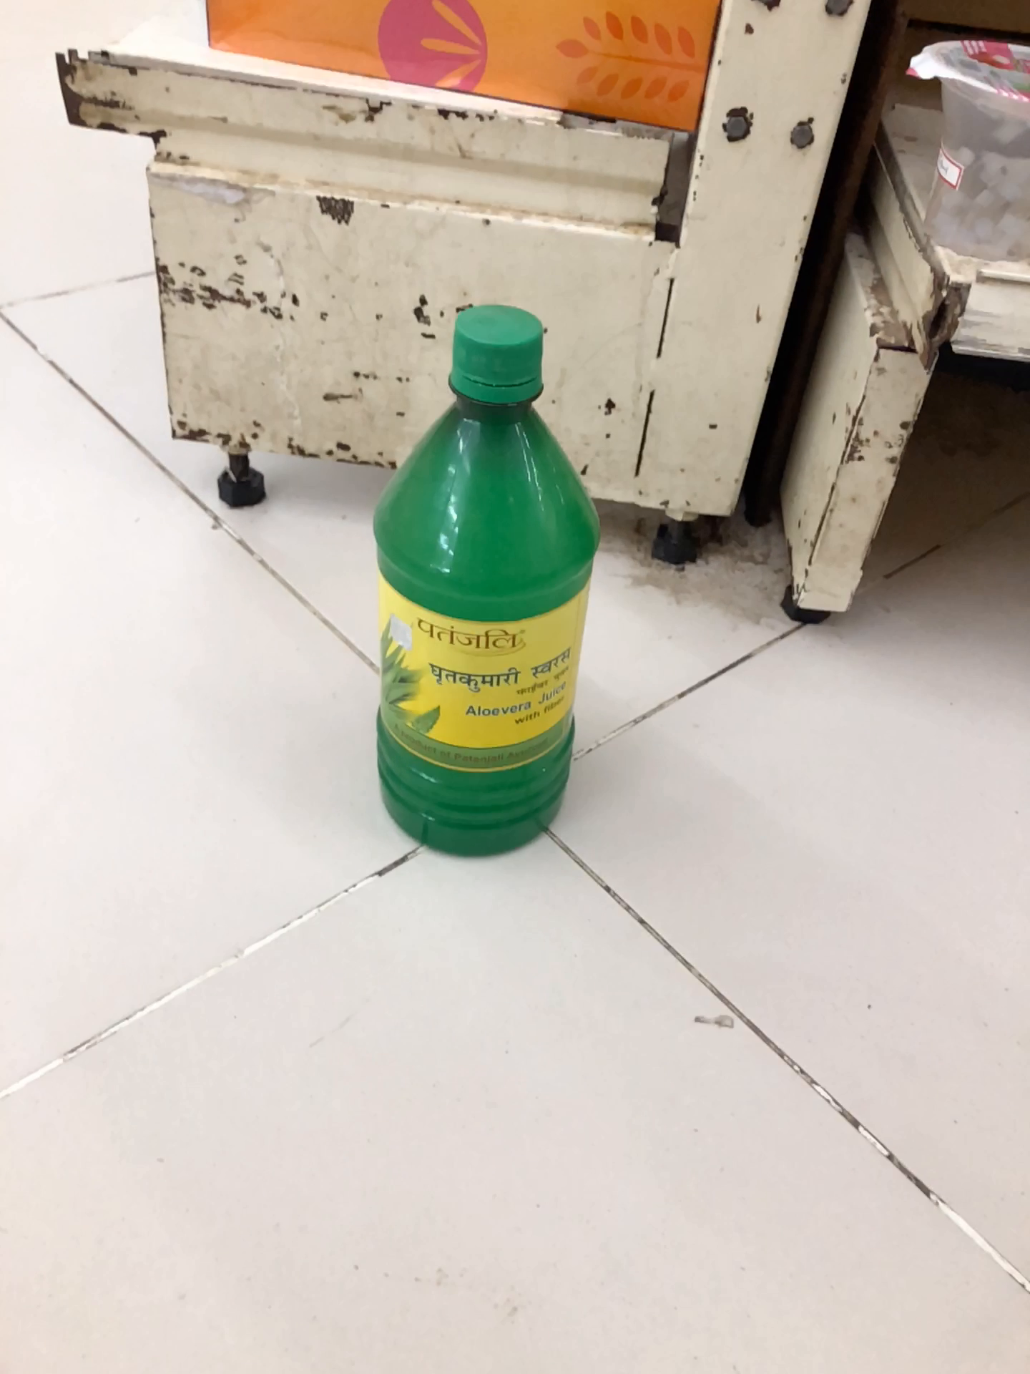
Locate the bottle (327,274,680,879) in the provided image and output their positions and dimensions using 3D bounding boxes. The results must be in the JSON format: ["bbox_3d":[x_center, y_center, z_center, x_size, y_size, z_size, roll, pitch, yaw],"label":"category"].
[{"bbox_3d":[-0.014,-0.038,0.462,0.100,0.218,0.101,2,42,-2],"label":"bottle"}]
